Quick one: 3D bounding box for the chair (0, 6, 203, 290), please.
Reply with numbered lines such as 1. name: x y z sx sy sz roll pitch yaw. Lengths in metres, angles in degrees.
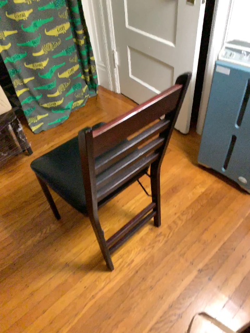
1. chair: -0.129 -0.045 1.023 0.491 0.865 0.553 -37 53 -26
